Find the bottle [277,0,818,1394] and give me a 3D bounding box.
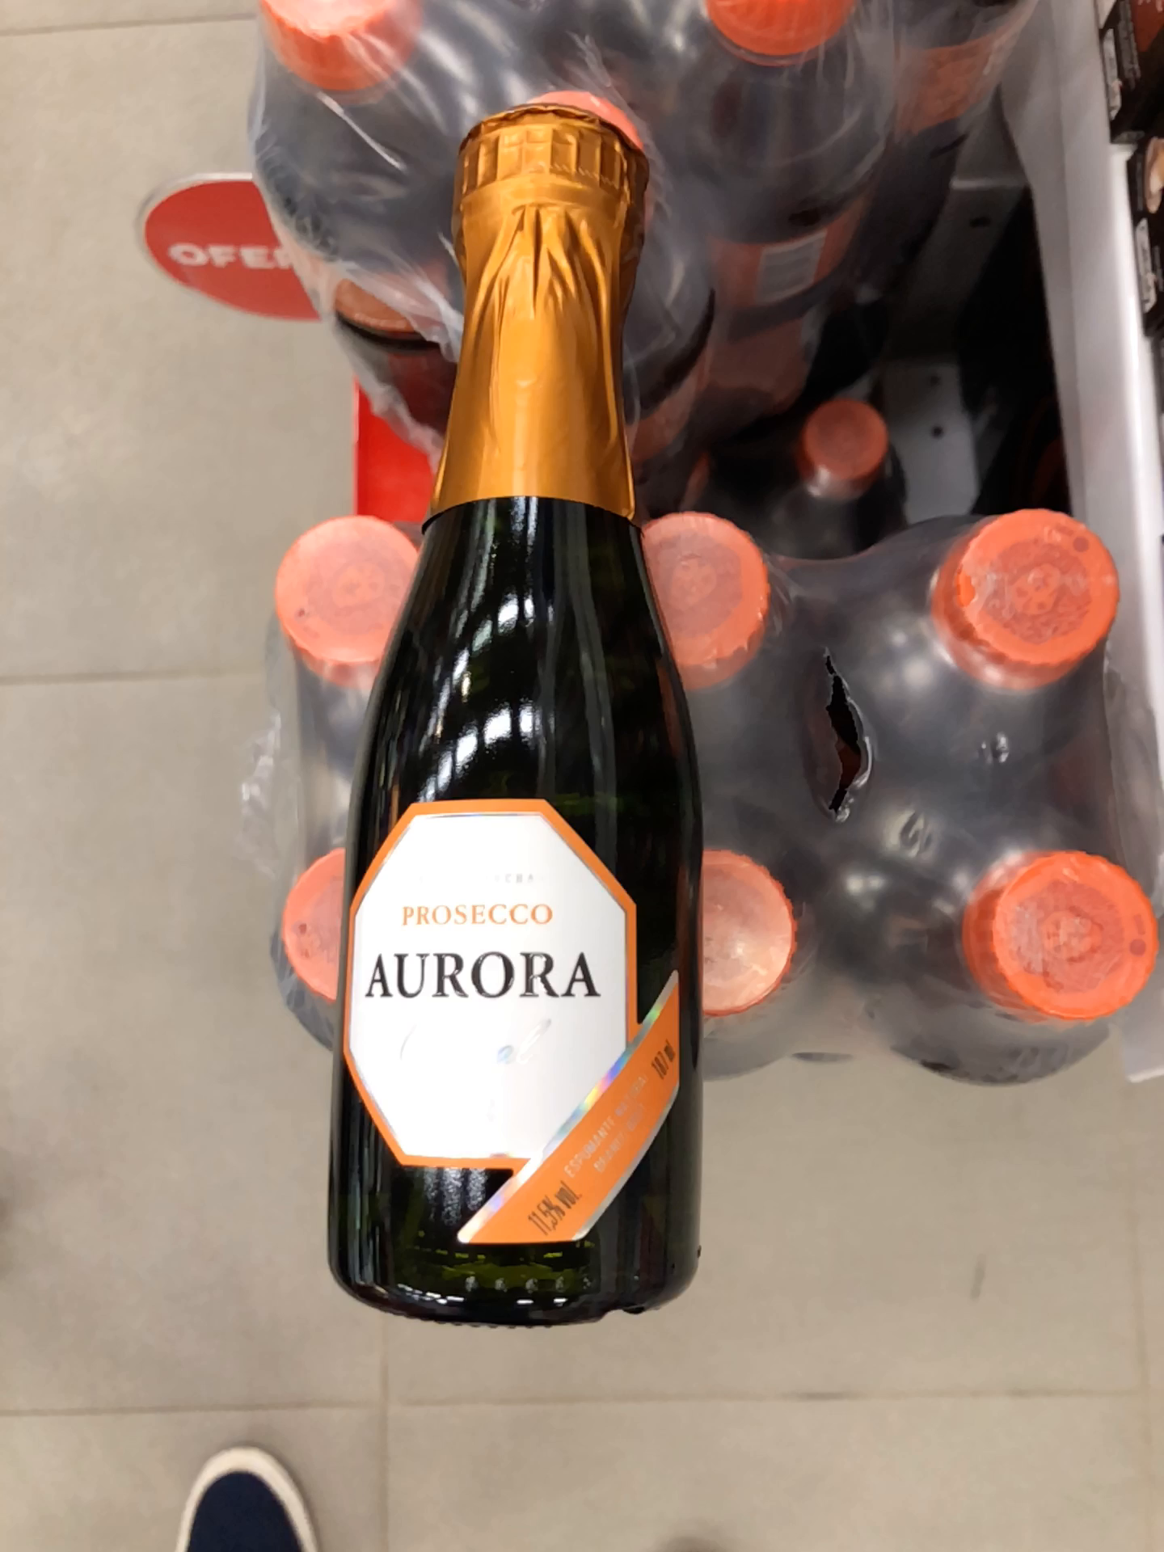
[{"bbox_3d":[-0.002,-0.014,0.192,0.060,0.050,0.180,3,85,2],"label":"bottle"}]
